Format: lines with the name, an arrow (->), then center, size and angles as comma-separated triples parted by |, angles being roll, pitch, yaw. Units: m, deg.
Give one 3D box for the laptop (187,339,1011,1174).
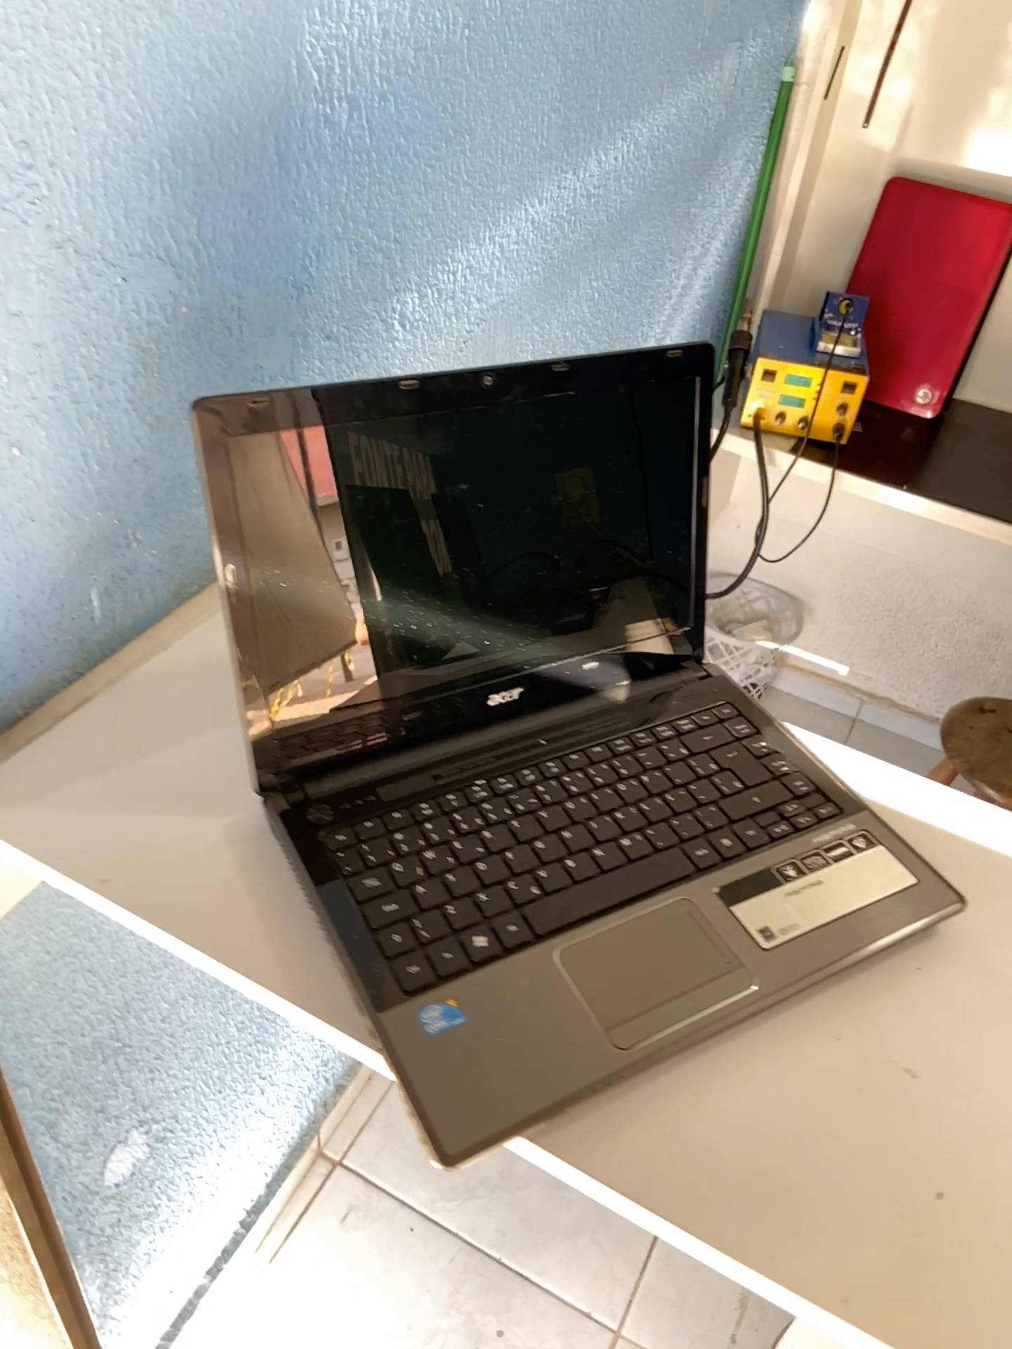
laptop -> 0.051, -0.002, 0.560 | 0.337, 0.207, 0.319 | -15, 44, -26
